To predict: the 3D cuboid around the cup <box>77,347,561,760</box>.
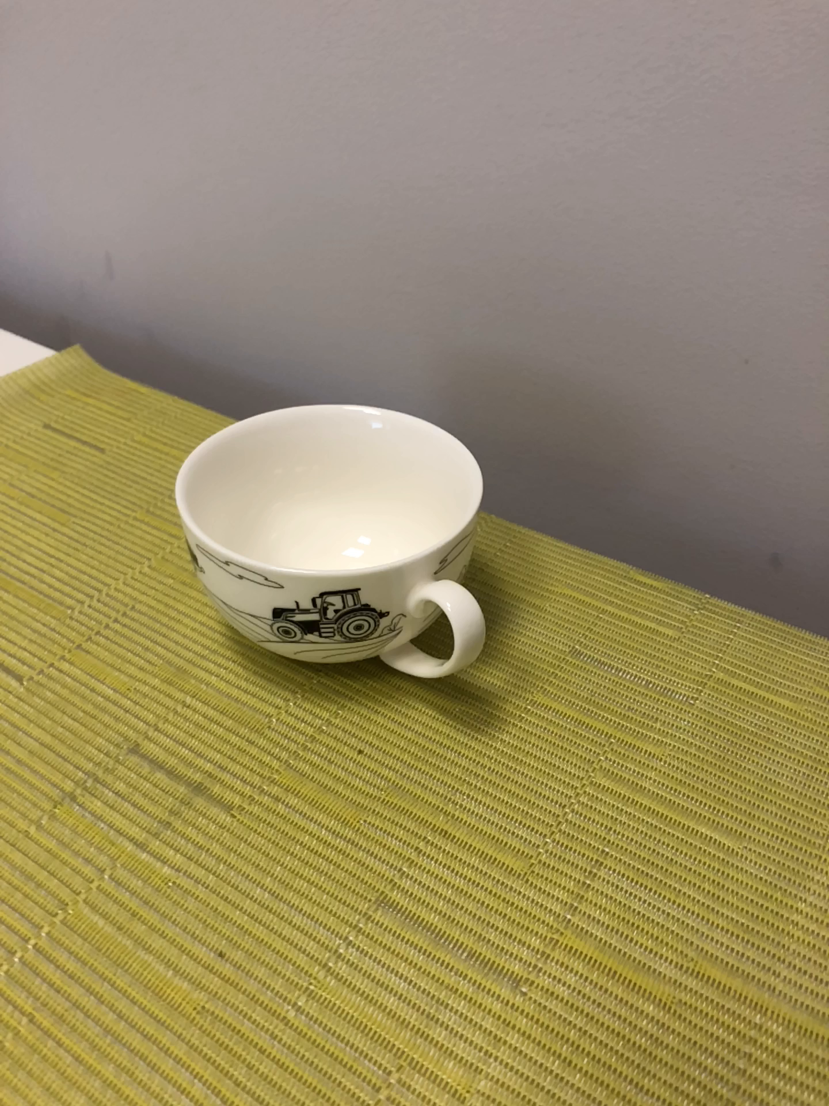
[{"bbox_3d":[-0.030,-0.009,0.283,0.089,0.051,0.114,-28,46,-34],"label":"cup"}]
